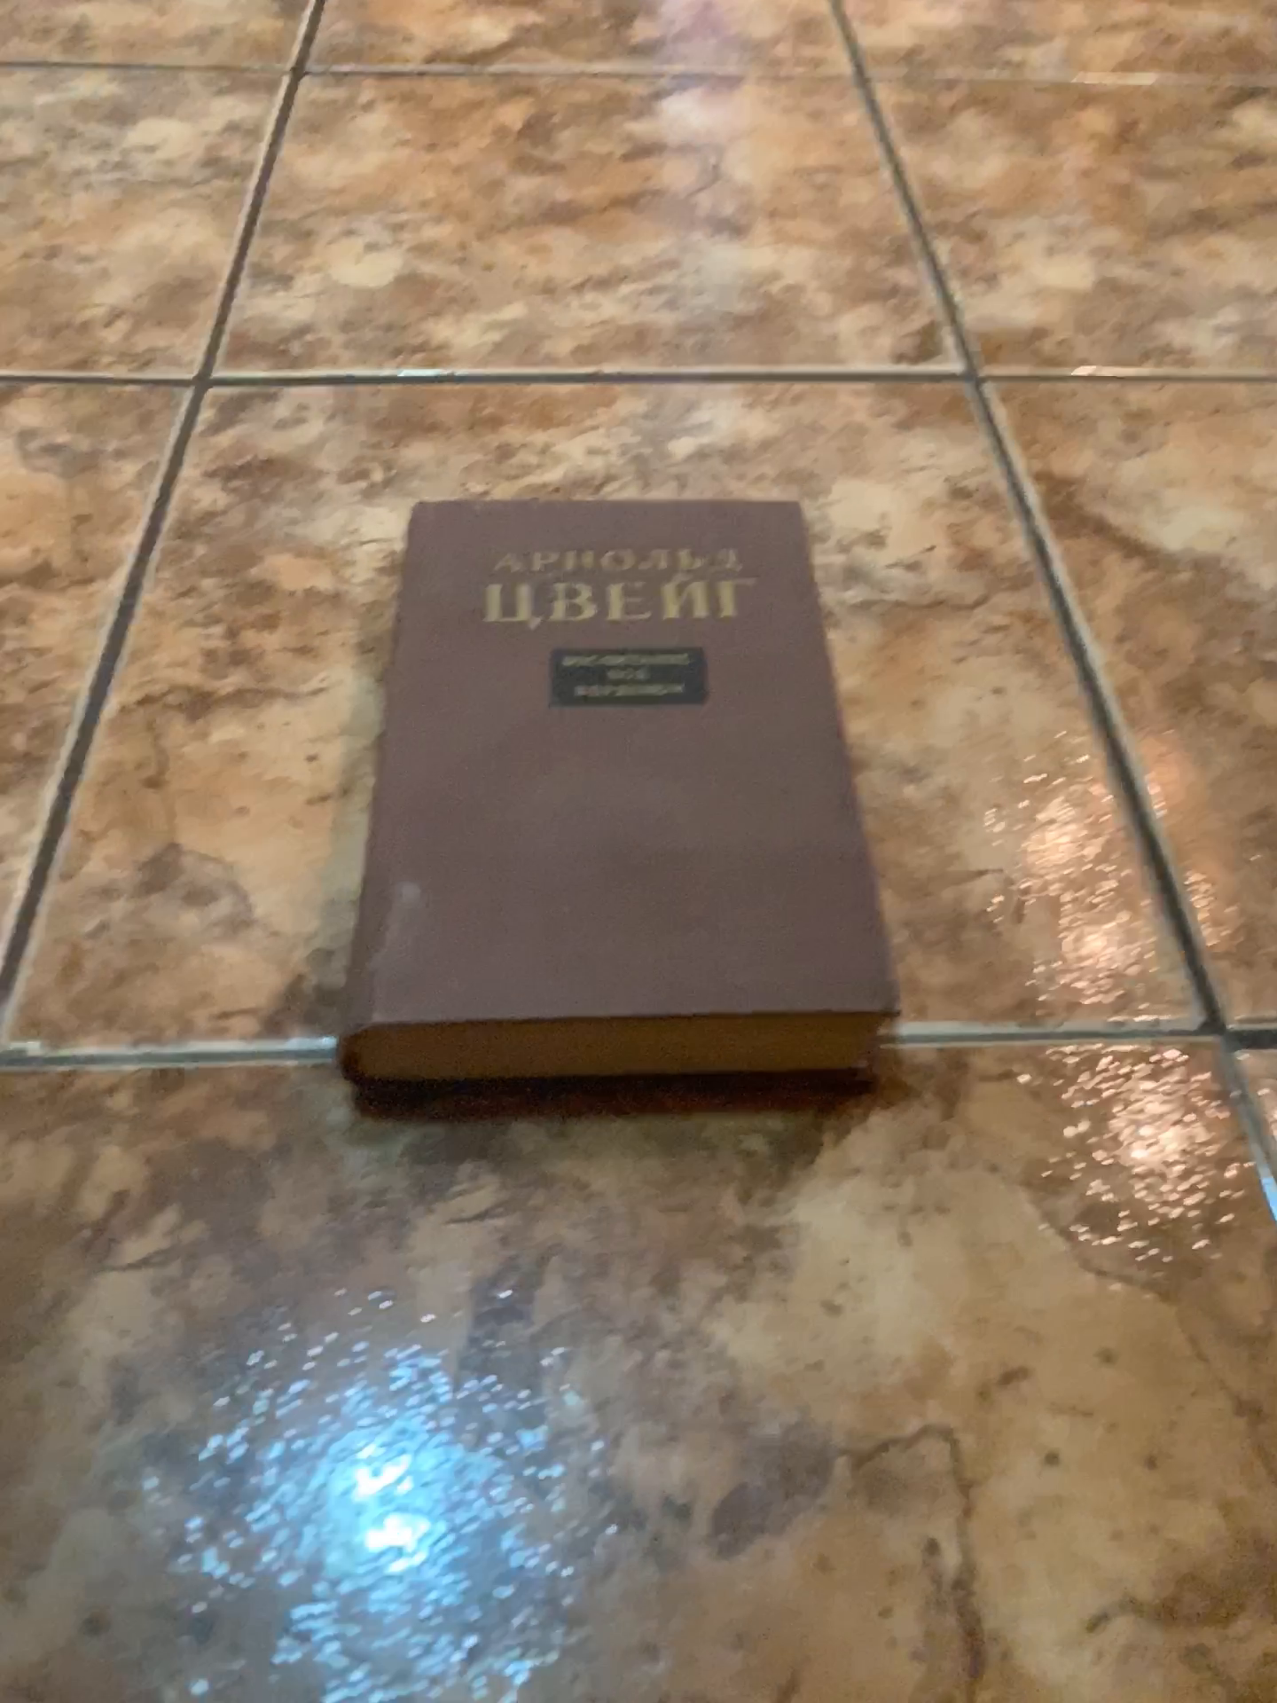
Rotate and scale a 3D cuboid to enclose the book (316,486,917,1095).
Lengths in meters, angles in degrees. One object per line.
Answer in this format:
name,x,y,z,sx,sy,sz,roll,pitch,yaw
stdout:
book,-0.008,-0.031,0.379,0.139,0.034,0.206,-1,51,-2
